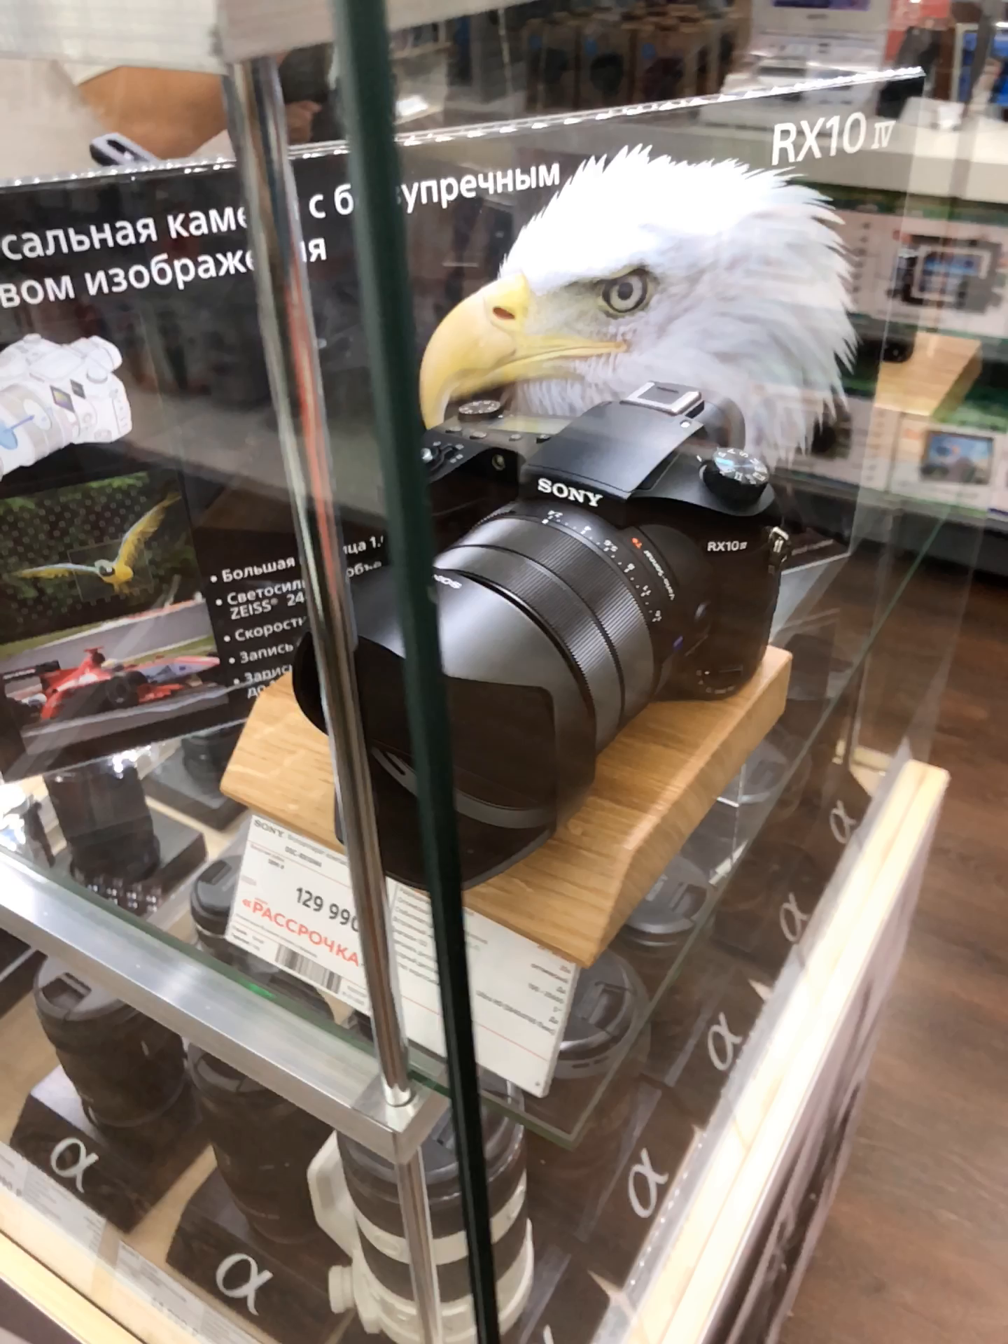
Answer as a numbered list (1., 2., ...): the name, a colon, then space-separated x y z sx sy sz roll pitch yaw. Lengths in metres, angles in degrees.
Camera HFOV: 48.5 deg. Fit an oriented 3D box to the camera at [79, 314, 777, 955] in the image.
1. camera: -0.010 -0.029 0.357 0.126 0.099 0.178 18 41 26
